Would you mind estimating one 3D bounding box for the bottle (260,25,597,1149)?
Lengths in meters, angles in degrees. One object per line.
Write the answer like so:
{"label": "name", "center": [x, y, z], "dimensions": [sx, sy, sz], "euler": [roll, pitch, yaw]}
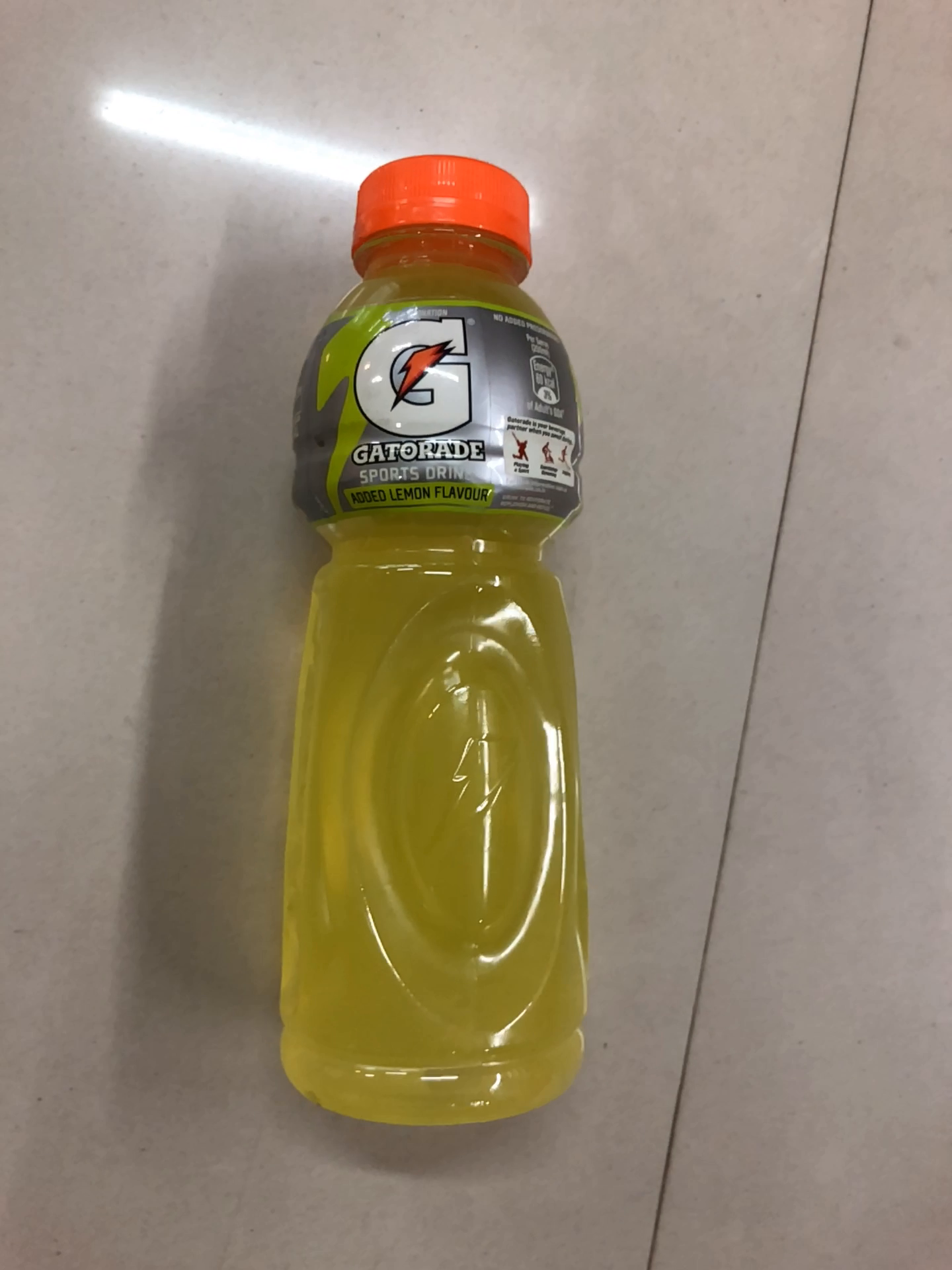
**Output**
{"label": "bottle", "center": [-0.013, -0.009, 0.252], "dimensions": [0.070, 0.060, 0.230], "euler": [0, 91, -6]}
